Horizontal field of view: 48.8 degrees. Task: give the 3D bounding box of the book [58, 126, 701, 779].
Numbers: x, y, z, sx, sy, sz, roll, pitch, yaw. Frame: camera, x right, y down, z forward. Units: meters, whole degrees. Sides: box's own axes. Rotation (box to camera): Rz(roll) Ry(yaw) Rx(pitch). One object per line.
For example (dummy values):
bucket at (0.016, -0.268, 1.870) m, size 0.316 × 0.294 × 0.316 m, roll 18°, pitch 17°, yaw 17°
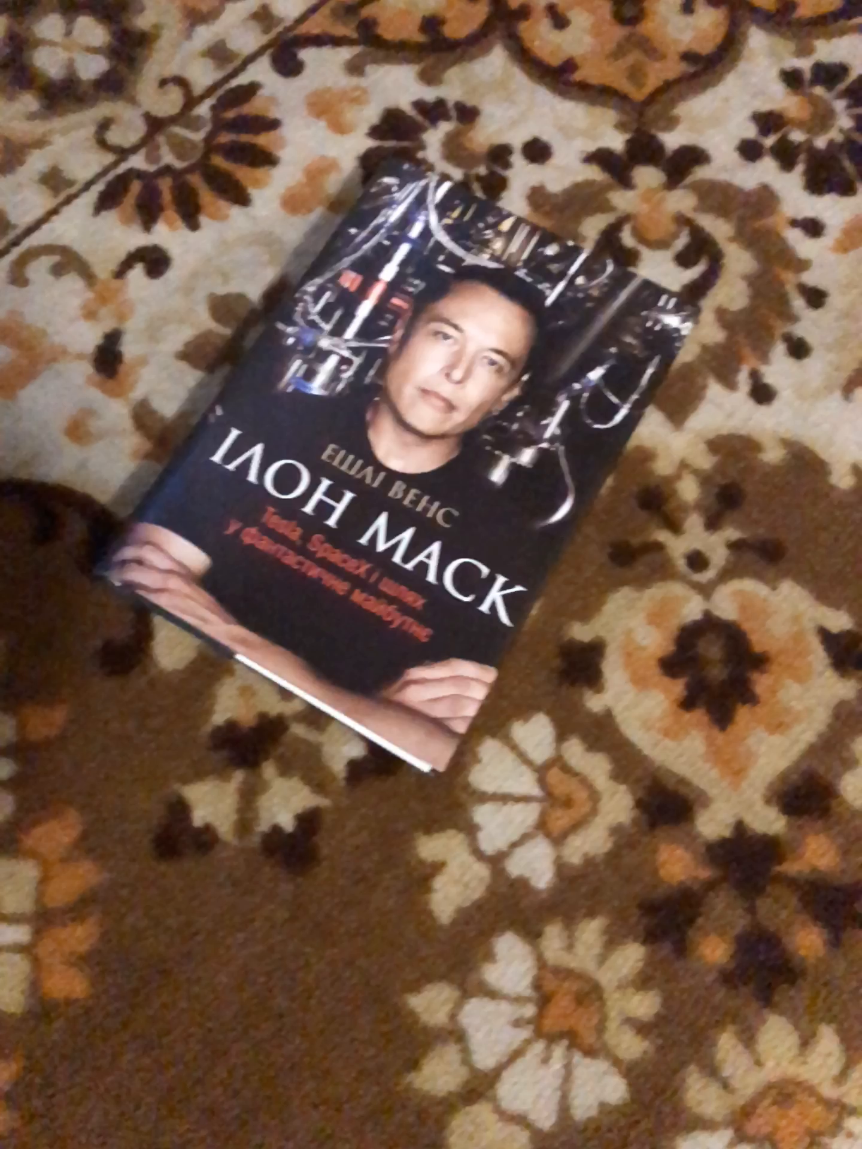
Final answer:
book at (-0.016, -0.063, 0.445) m, size 0.184 × 0.050 × 0.250 m, roll 29°, pitch 75°, yaw 6°
